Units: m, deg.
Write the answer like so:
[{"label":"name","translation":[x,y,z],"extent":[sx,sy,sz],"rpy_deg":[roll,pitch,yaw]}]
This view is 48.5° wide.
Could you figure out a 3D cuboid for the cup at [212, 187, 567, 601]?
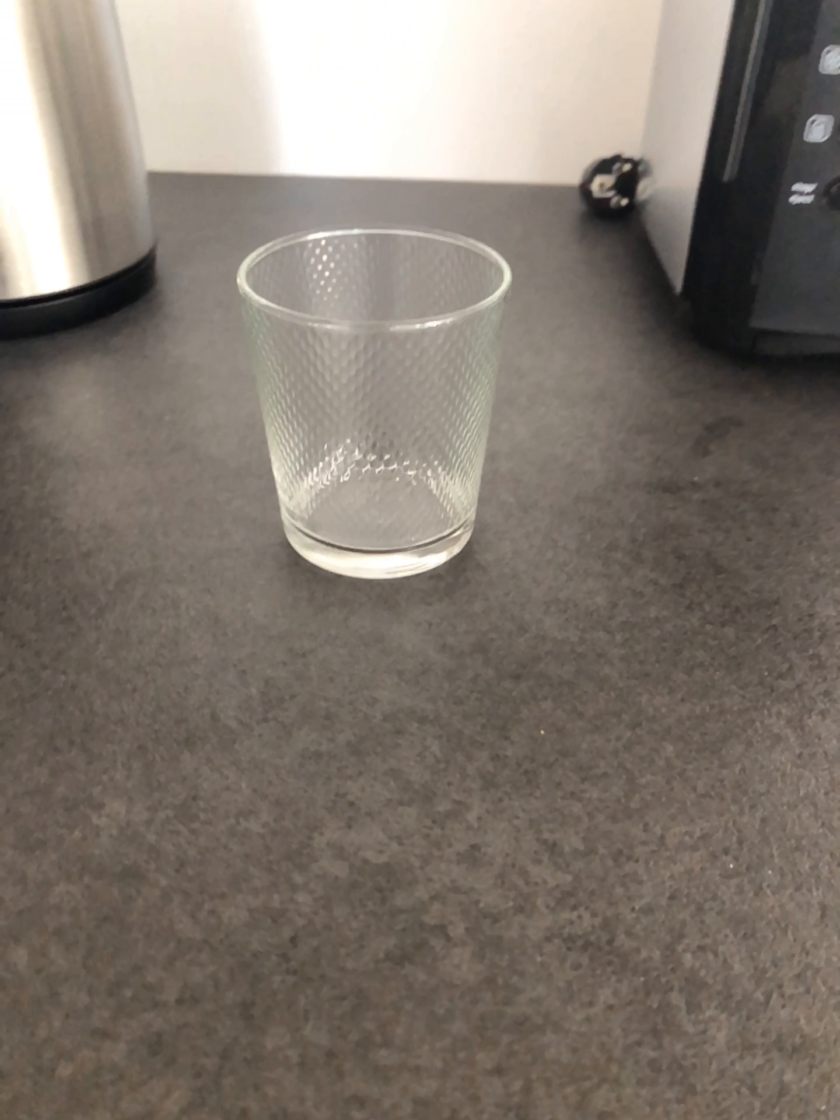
[{"label":"cup","translation":[-0.013,-0.054,0.287],"extent":[0.080,0.089,0.080],"rpy_deg":[0,37,0]}]
